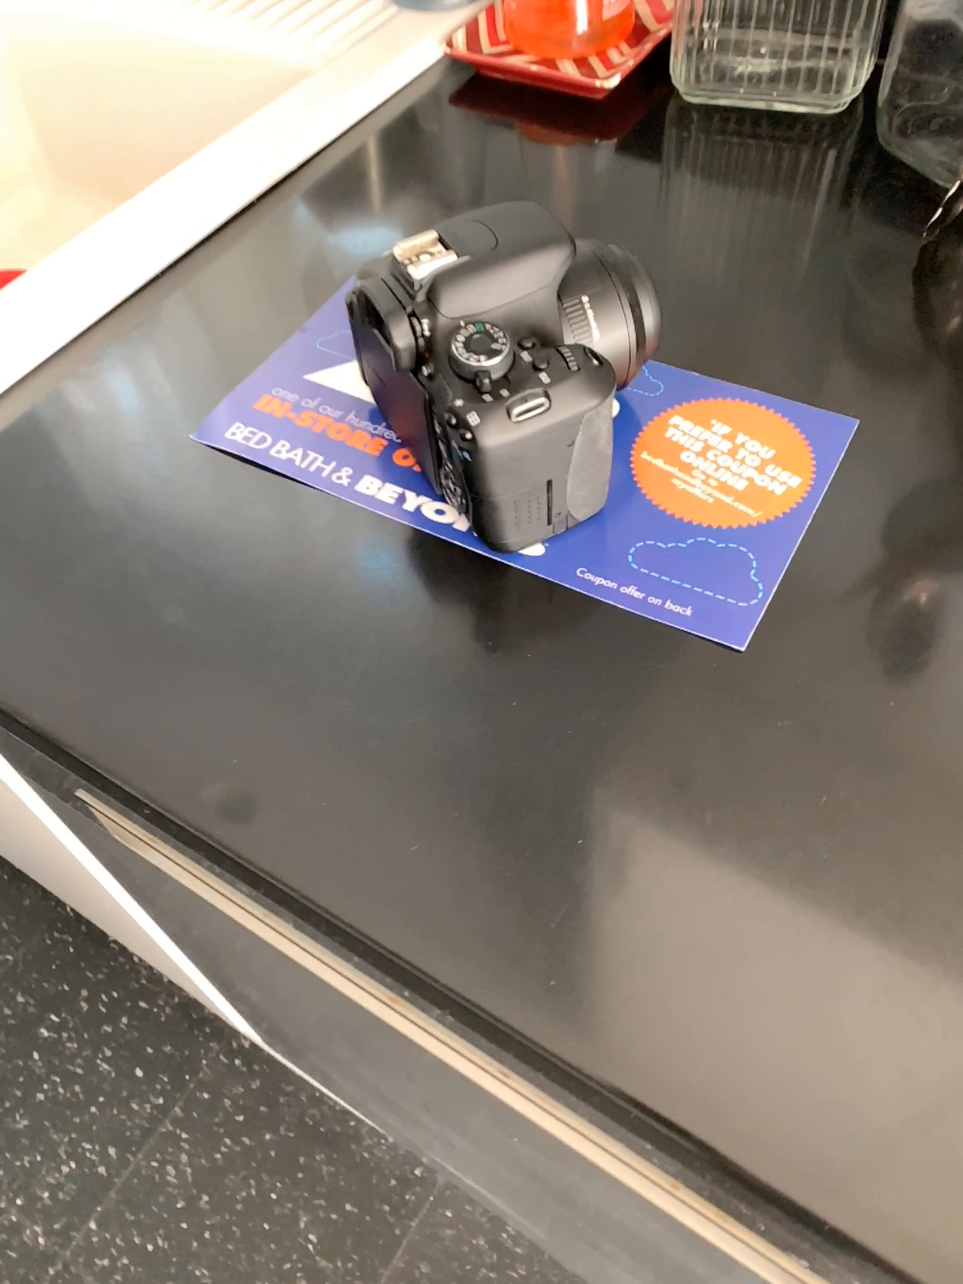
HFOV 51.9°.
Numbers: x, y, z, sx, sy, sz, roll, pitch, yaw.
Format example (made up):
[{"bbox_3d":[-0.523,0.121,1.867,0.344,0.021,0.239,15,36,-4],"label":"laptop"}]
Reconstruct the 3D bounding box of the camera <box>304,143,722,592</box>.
[{"bbox_3d":[0.009,-0.112,0.395,0.103,0.088,0.133,-23,55,-12],"label":"camera"}]
